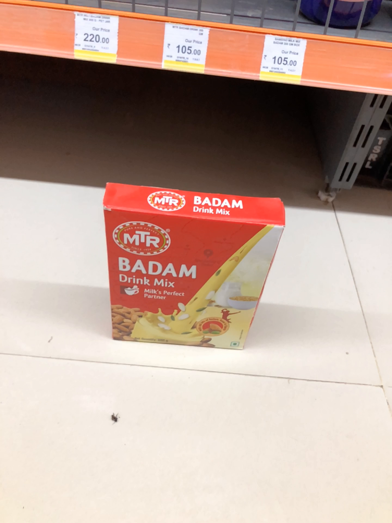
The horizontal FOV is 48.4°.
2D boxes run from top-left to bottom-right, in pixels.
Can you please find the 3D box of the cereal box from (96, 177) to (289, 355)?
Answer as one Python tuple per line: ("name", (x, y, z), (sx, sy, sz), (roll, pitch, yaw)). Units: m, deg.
("cereal box", (-0.009, 0.013, 0.364), (0.130, 0.159, 0.040), (5, 46, -3))
